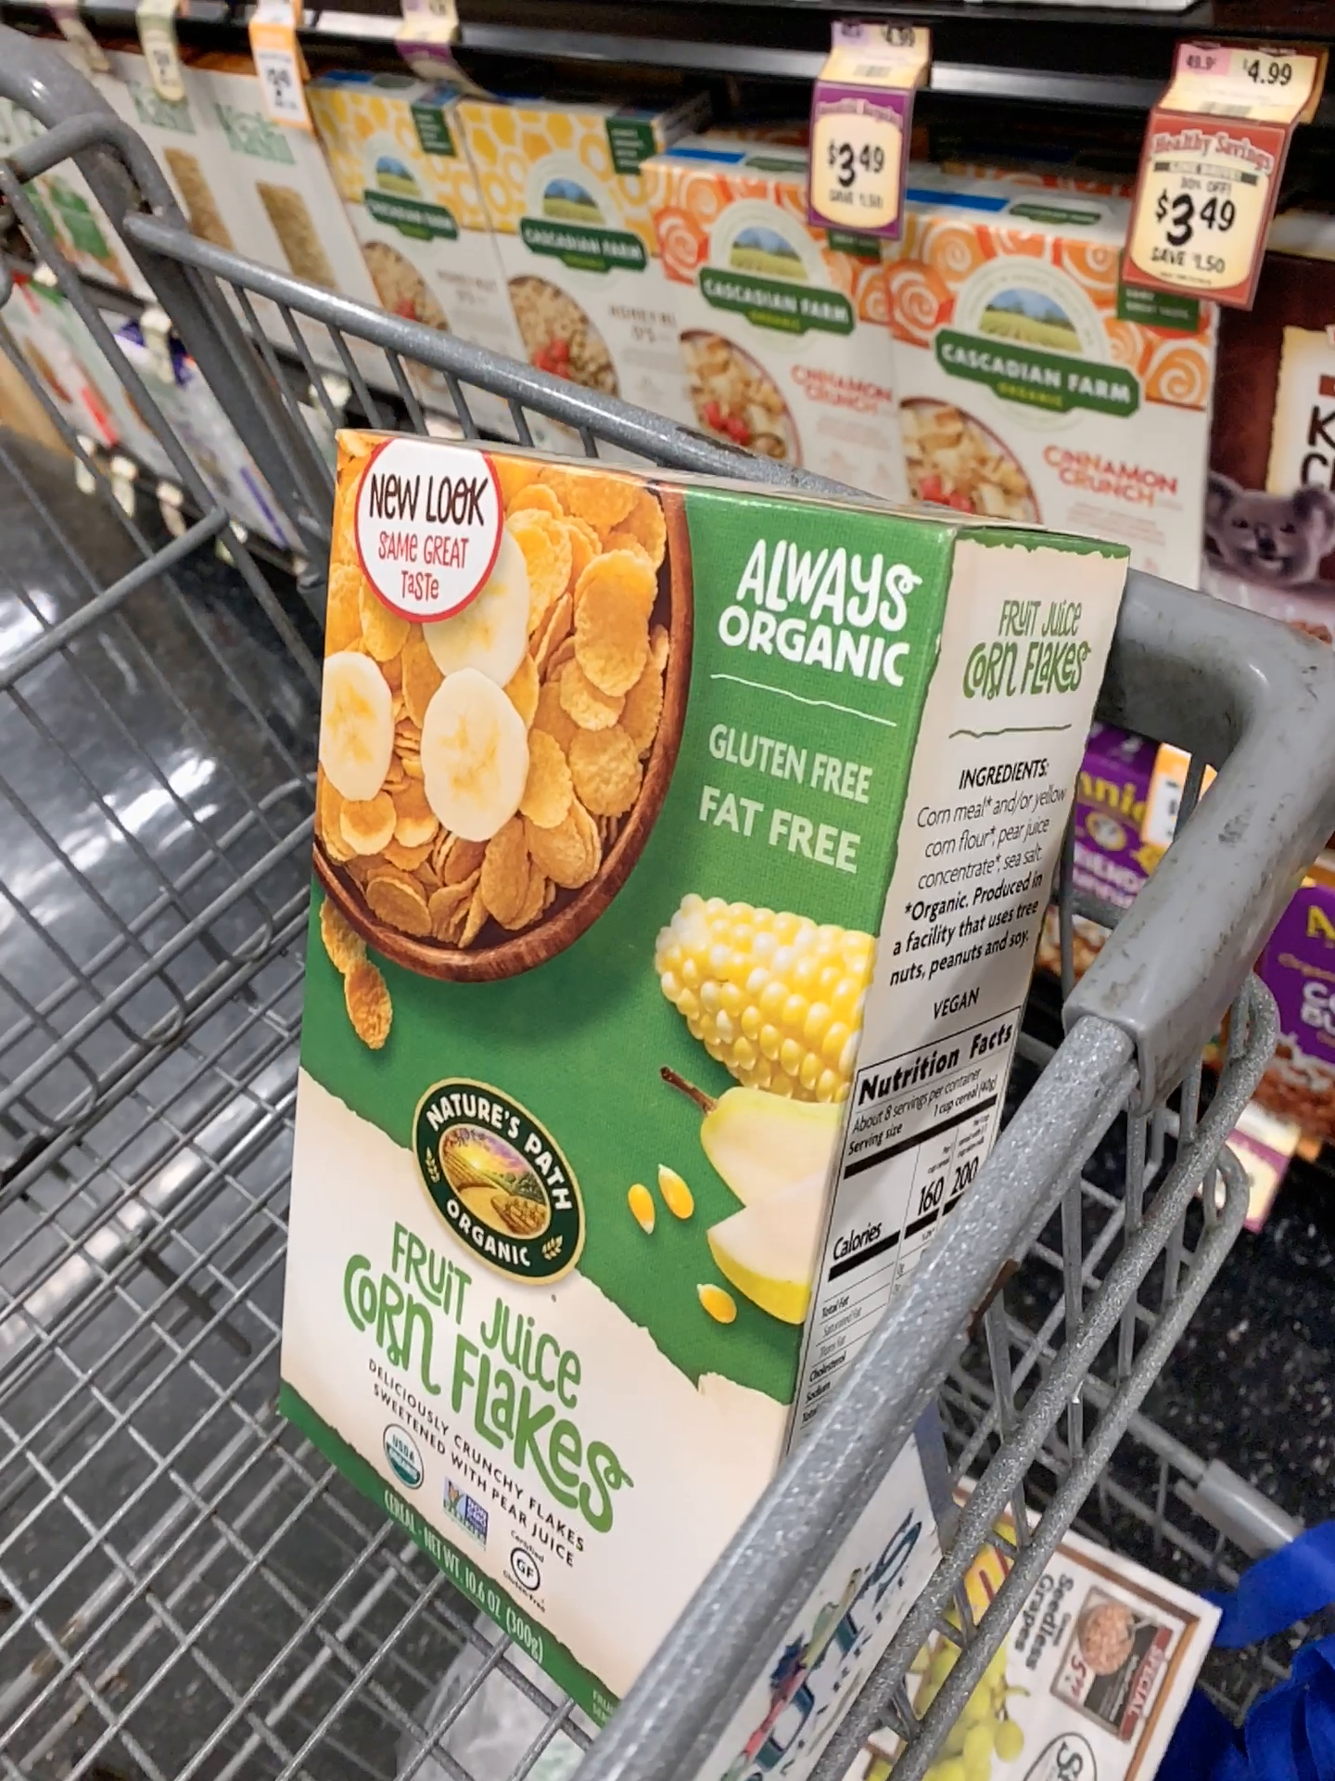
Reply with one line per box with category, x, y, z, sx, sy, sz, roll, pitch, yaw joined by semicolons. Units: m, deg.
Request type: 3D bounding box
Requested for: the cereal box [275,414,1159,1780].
cereal box;-0.010;0.037;0.301;0.161;0.250;0.060;22;22;40
